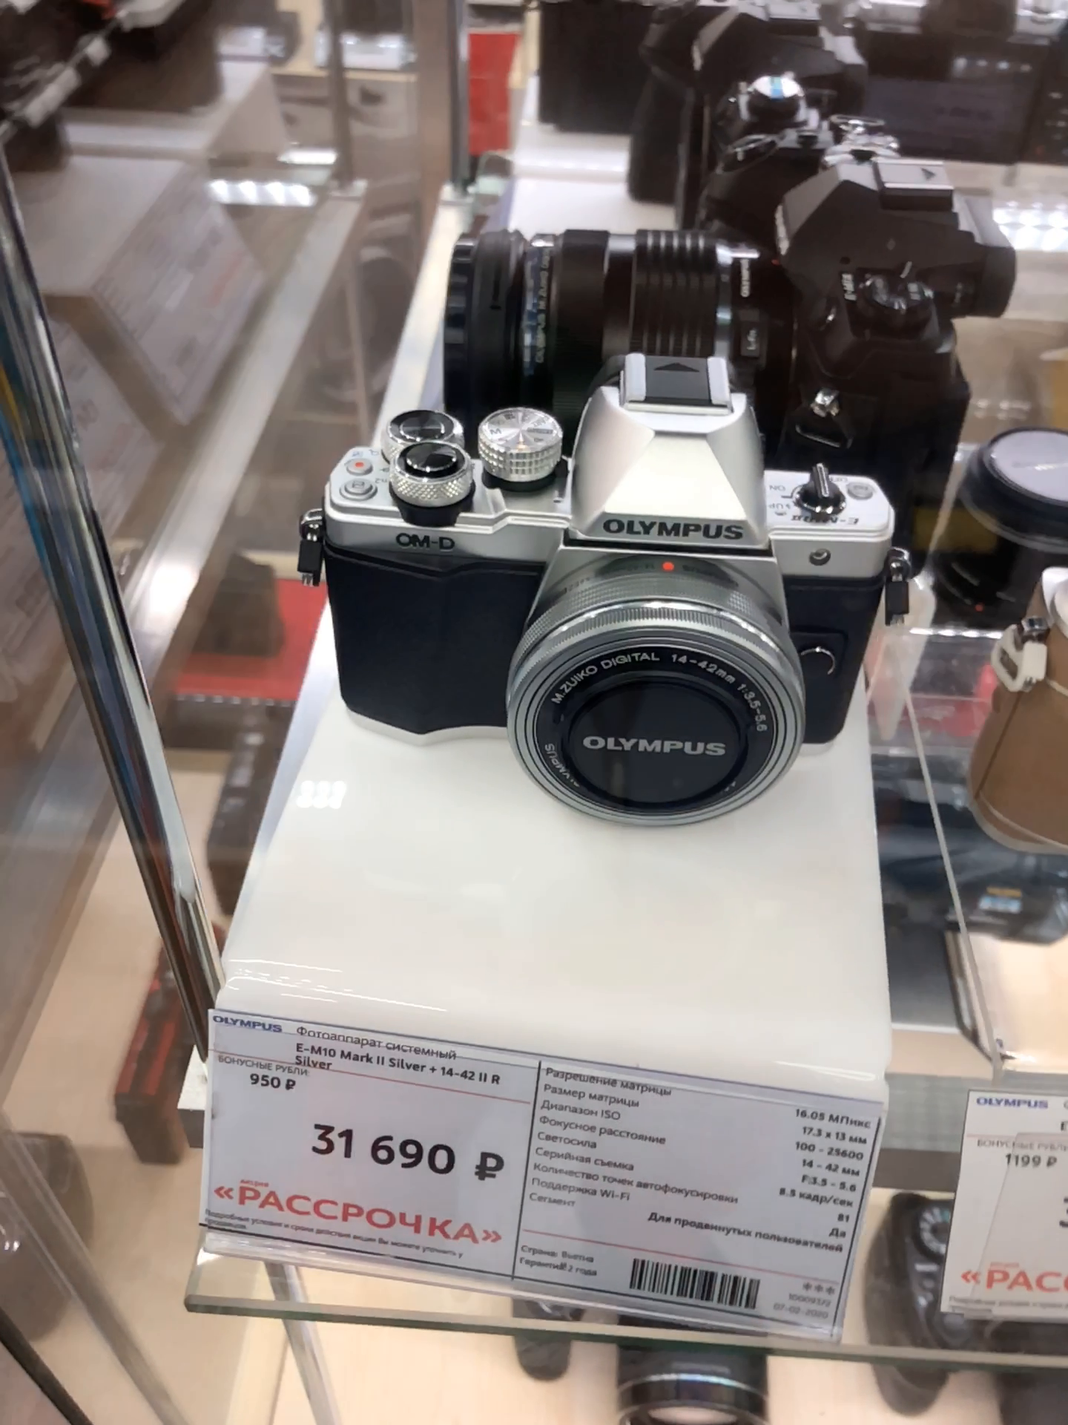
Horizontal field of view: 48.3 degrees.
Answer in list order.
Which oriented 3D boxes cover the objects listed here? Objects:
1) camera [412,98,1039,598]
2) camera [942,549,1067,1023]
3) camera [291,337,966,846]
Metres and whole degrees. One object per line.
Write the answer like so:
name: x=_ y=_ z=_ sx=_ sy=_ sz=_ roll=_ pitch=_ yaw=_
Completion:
camera: x=0.044 y=-0.102 z=0.327 sx=0.136 sy=0.087 sz=0.102 roll=4 pitch=44 yaw=2
camera: x=0.168 y=0.014 z=0.245 sx=0.139 sy=0.062 sz=0.065 roll=3 pitch=44 yaw=1
camera: x=0.017 y=-0.027 z=0.265 sx=0.120 sy=0.080 sz=0.072 roll=3 pitch=44 yaw=1
